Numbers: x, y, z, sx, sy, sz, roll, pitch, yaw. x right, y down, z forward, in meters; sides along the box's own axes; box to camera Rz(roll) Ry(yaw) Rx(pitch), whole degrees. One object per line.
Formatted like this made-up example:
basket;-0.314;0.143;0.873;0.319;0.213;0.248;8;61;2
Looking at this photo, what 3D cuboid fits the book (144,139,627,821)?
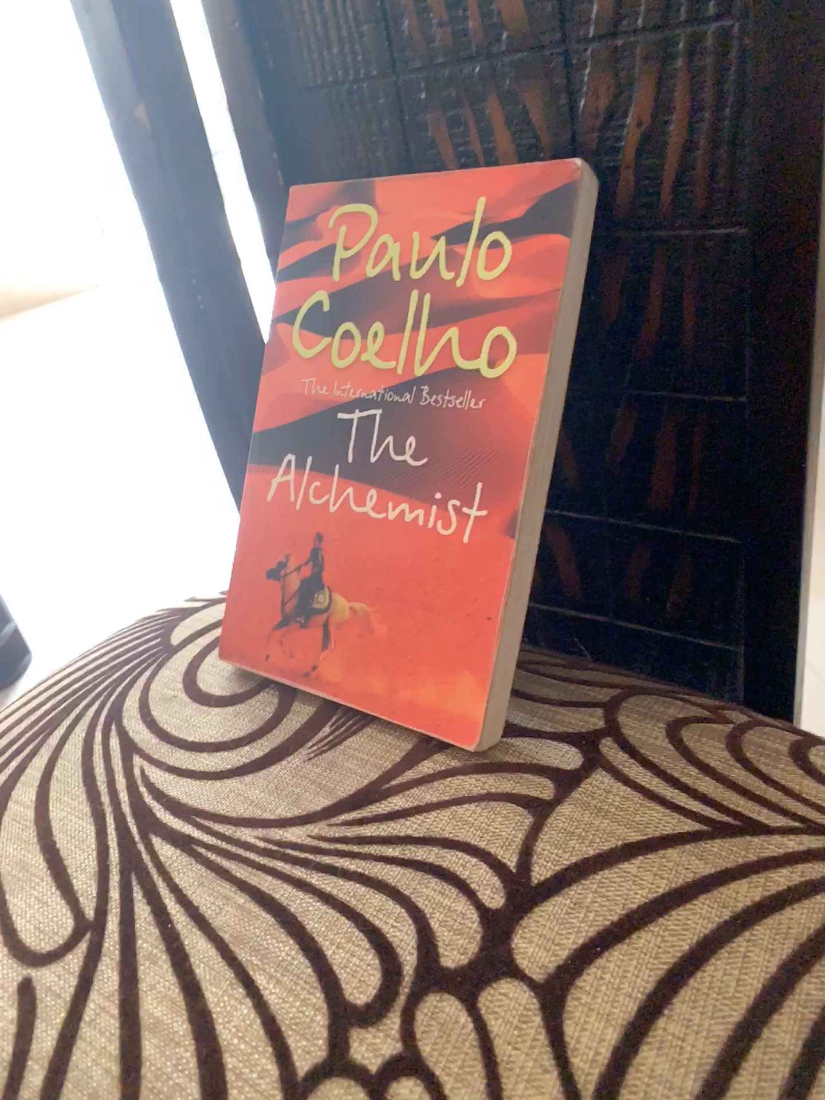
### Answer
book;-0.014;-0.029;0.294;0.140;0.200;0.030;8;-3;31
